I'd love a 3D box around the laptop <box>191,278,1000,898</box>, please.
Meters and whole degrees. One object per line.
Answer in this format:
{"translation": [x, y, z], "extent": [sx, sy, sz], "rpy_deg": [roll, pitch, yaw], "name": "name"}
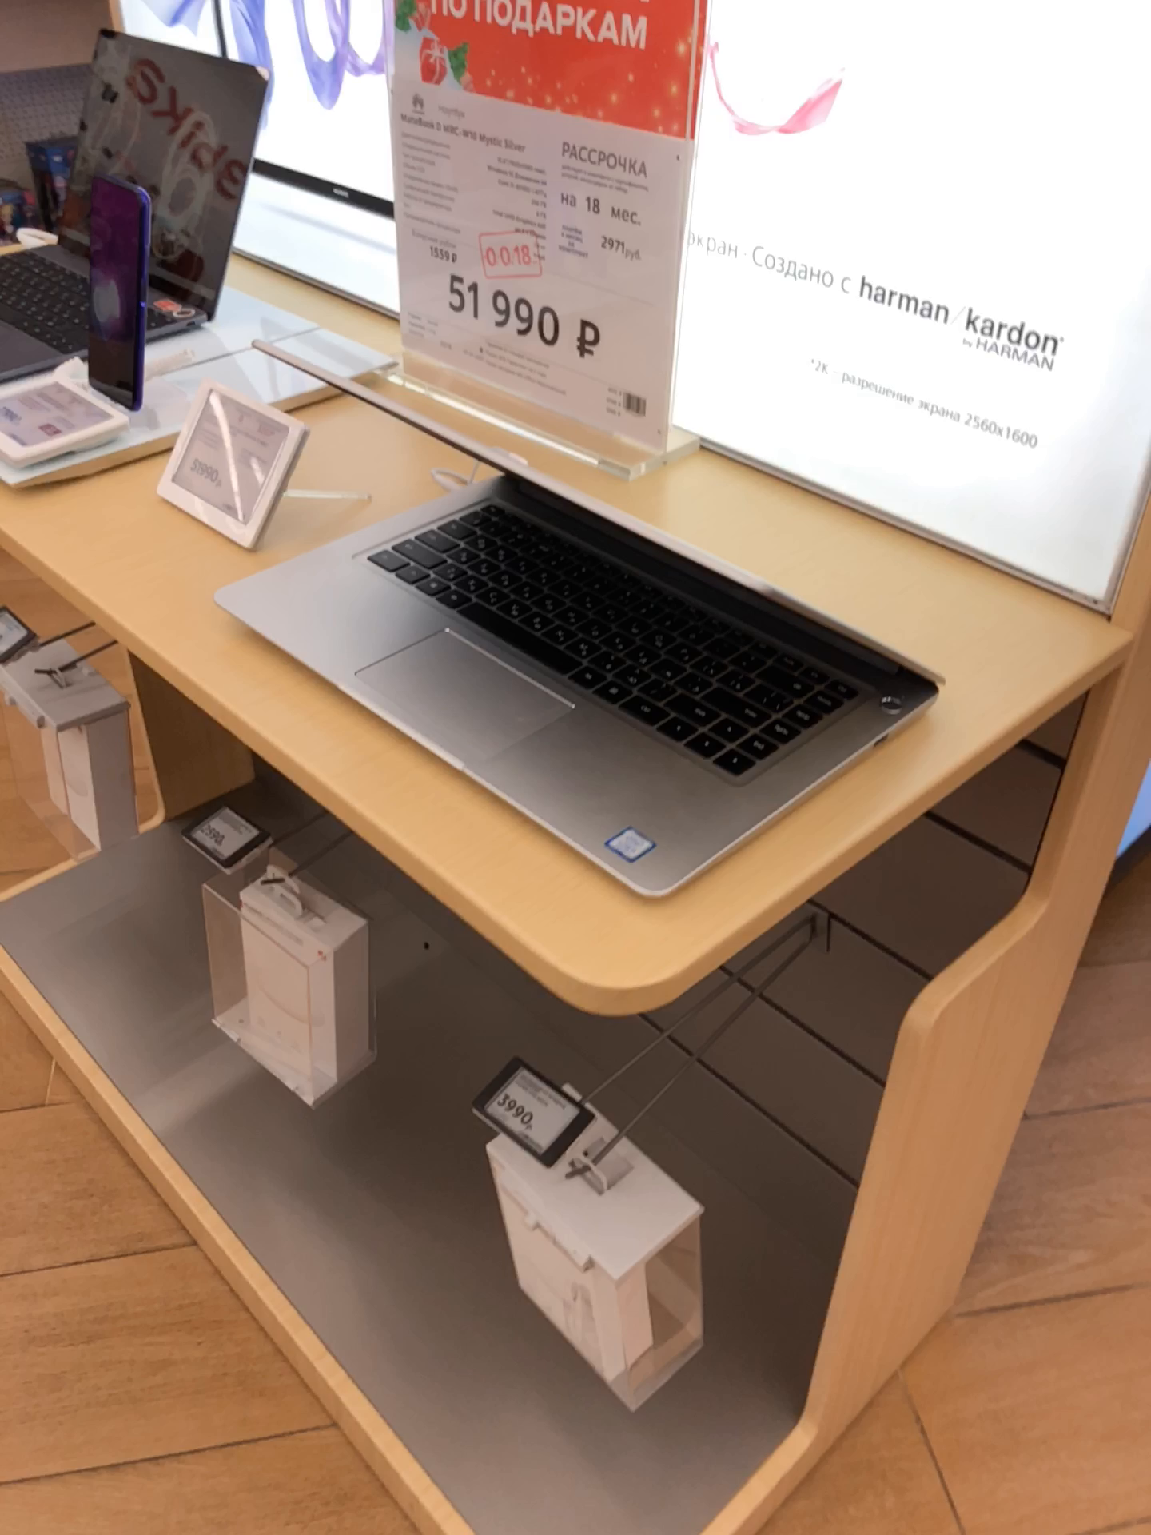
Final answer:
{"translation": [-0.002, -0.125, 0.664], "extent": [0.230, 0.135, 0.343], "rpy_deg": [-30, 47, -34], "name": "laptop"}
